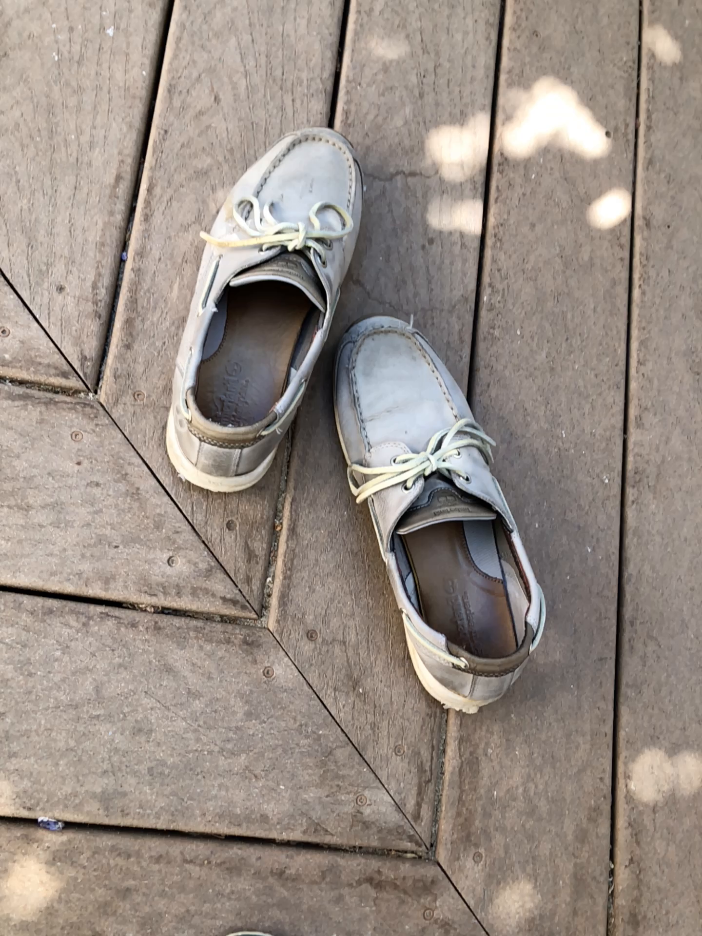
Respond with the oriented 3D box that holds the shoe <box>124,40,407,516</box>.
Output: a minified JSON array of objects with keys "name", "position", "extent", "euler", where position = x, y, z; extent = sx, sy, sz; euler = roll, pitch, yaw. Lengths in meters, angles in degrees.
[{"name":"shoe","position":[-0.060,-0.137,0.575],"extent":[0.116,0.099,0.314],"euler":[16,74,-9]}]

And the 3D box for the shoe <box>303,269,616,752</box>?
[{"name":"shoe","position":[0.067,0.027,0.571],"extent":[0.120,0.109,0.310],"euler":[-12,80,-16]}]
